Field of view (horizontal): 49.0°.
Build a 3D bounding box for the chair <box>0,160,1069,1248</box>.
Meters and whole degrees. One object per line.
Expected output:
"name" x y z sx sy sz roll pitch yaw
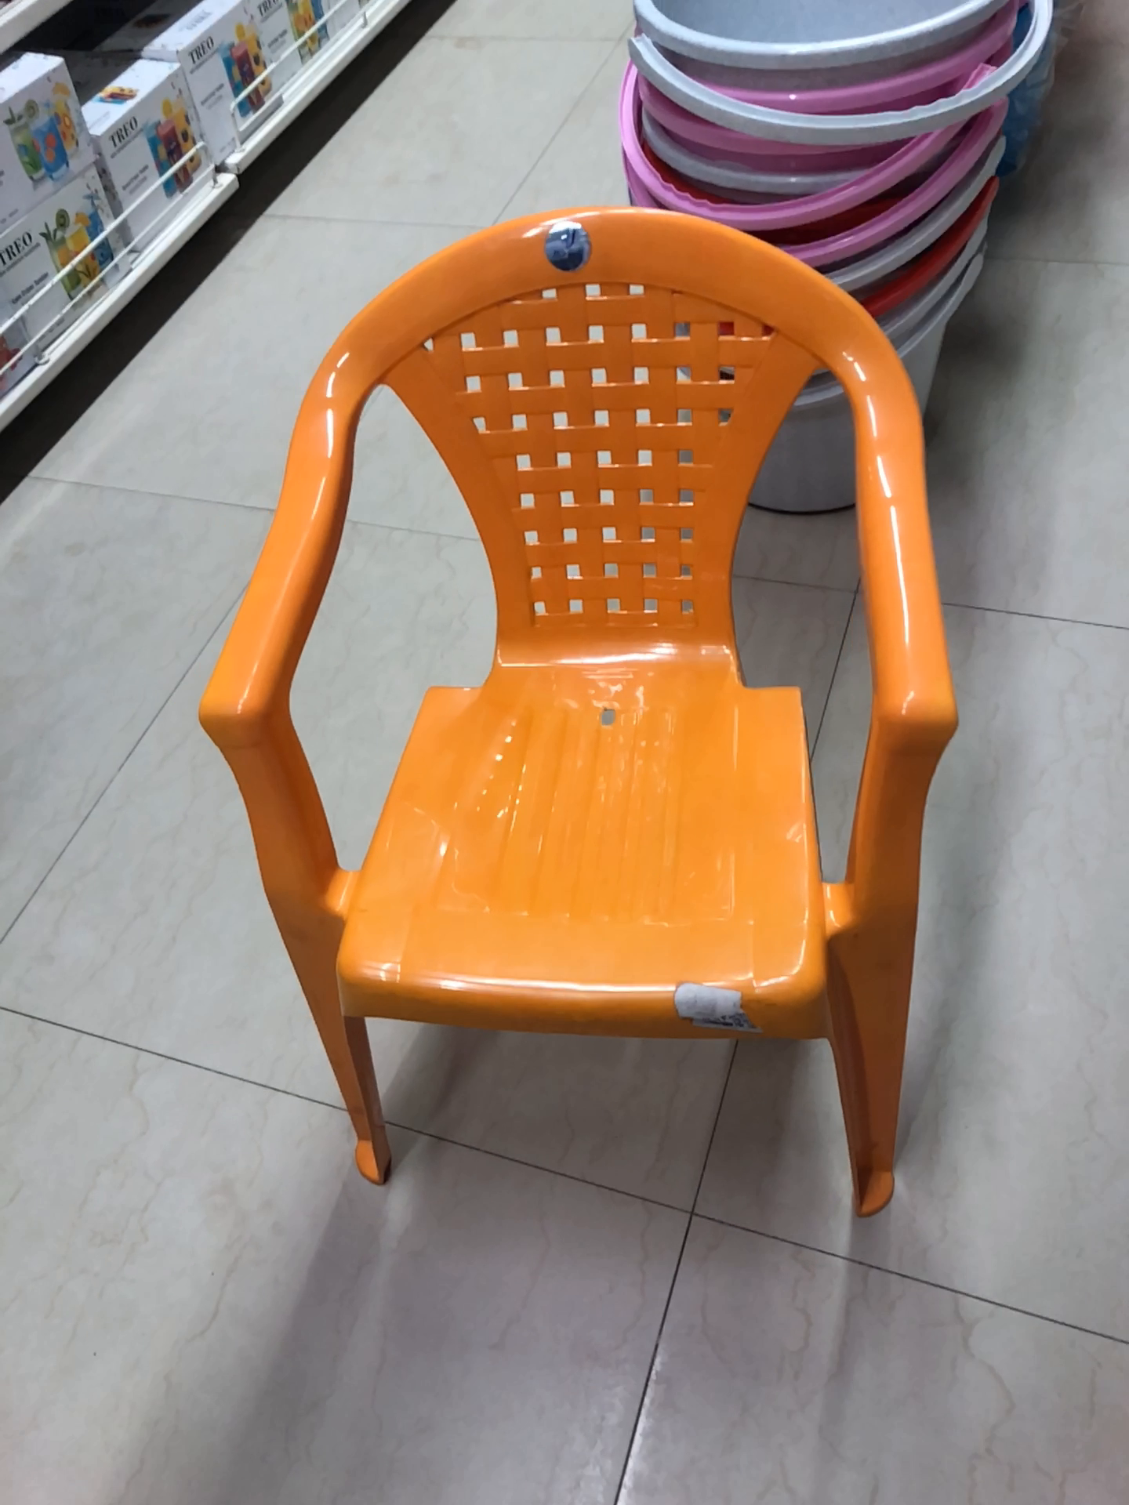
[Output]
"chair" 0.025 -0.009 0.731 0.390 0.467 0.402 2 51 11
